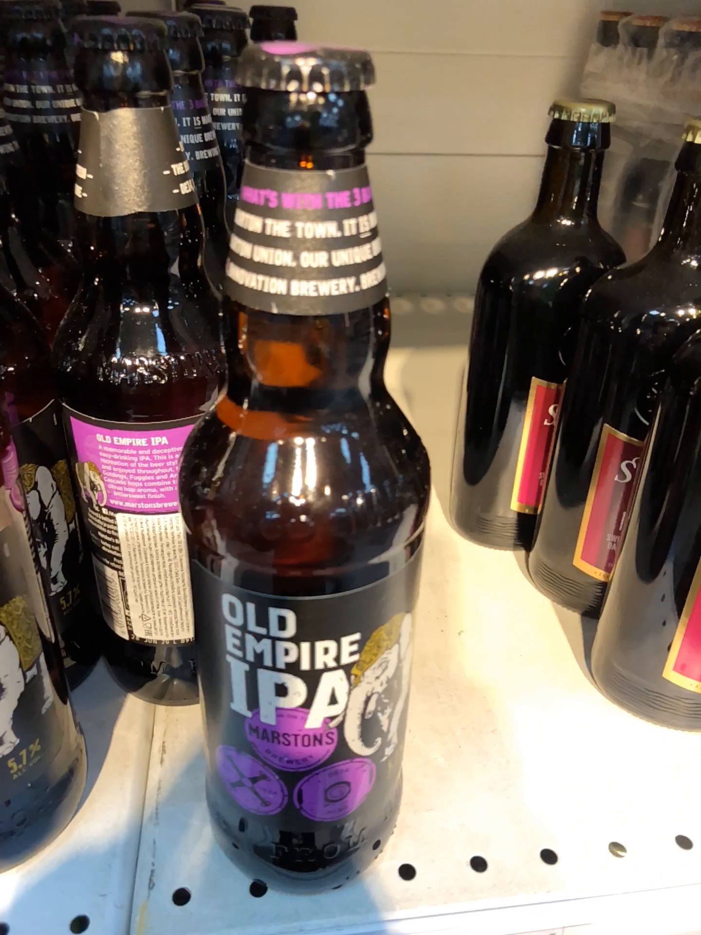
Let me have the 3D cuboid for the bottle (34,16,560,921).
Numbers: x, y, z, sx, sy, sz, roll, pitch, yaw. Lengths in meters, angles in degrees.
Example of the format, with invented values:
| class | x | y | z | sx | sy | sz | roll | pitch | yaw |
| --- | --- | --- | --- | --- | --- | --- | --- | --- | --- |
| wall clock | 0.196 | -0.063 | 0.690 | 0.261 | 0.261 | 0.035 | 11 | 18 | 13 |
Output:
| class | x | y | z | sx | sy | sz | roll | pitch | yaw |
| --- | --- | --- | --- | --- | --- | --- | --- | --- | --- |
| bottle | -0.012 | 0.016 | 0.214 | 0.080 | 0.239 | 0.080 | 1 | 31 | -1 |
